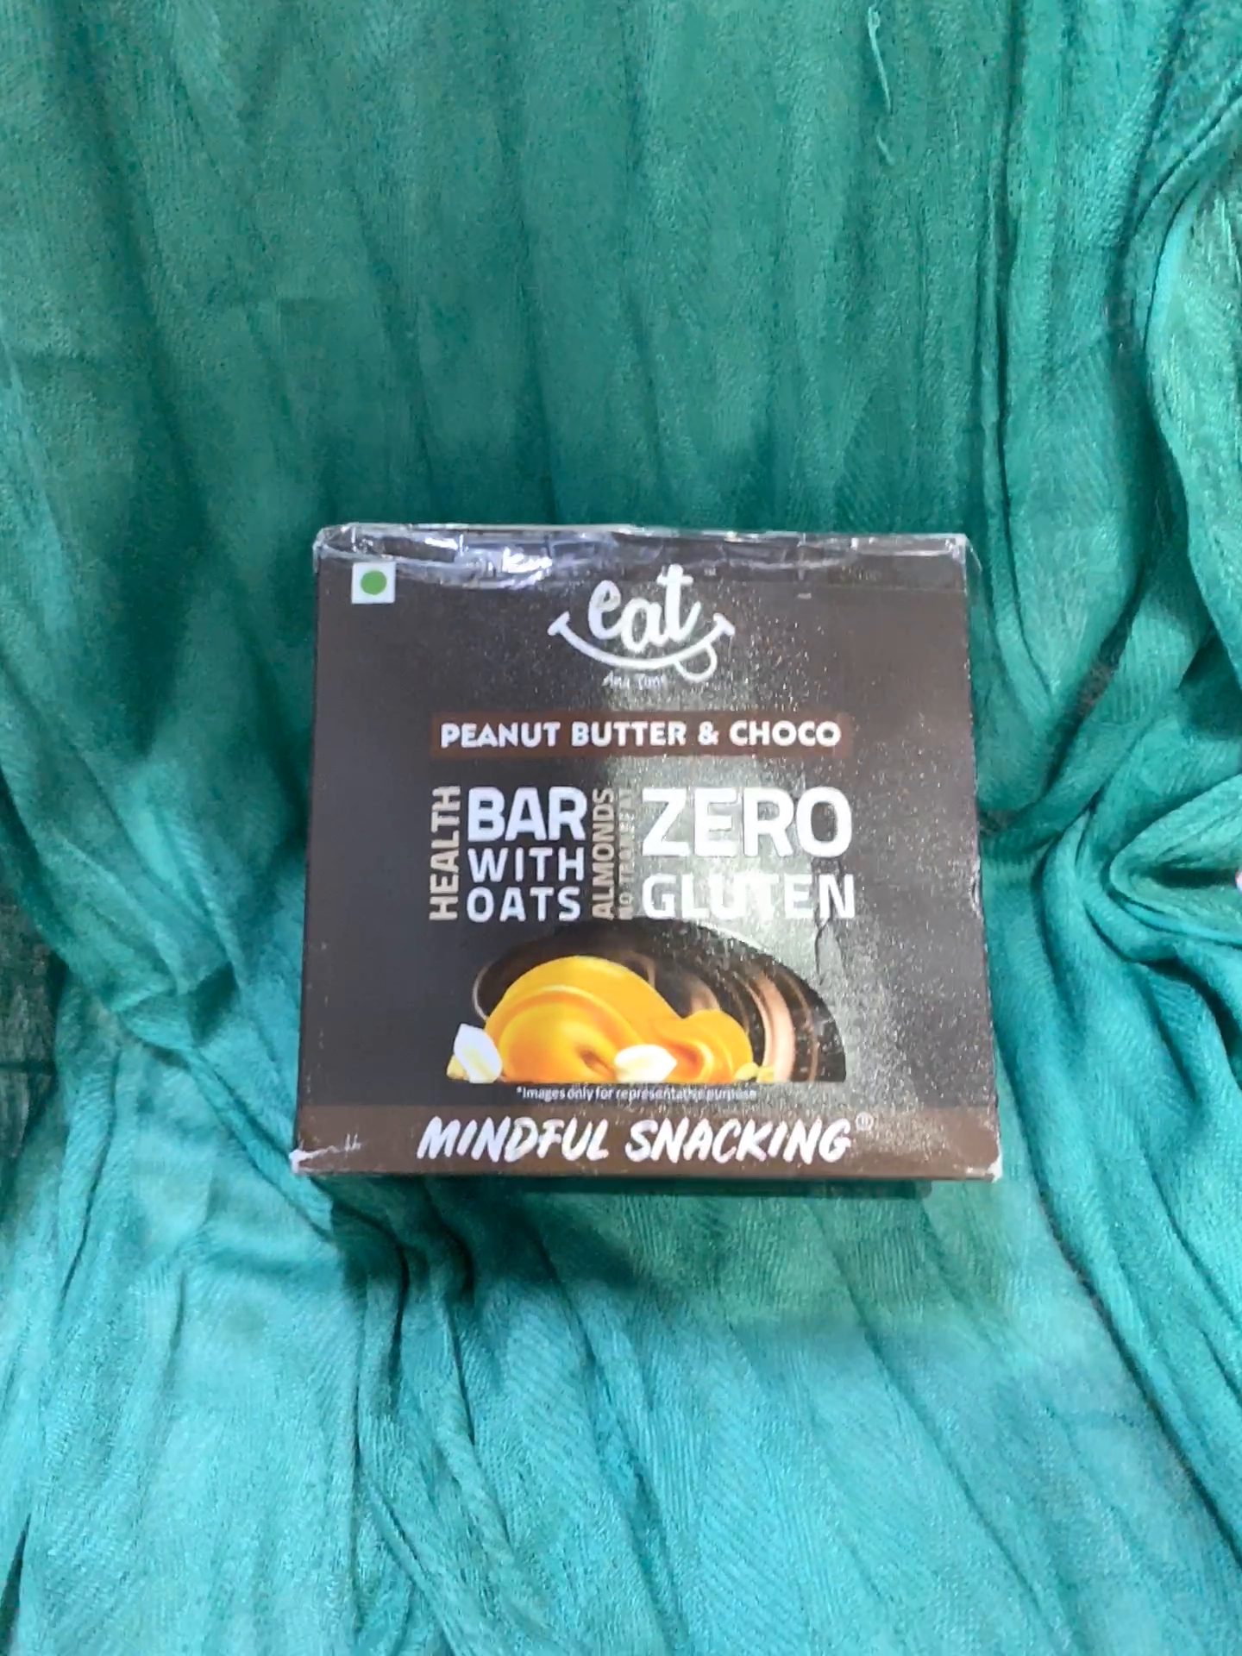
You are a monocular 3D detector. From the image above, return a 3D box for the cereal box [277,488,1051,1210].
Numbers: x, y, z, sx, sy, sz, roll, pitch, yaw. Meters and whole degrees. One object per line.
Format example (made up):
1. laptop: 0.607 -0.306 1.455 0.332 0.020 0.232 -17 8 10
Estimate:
1. cereal box: 0.010 0.010 0.292 0.140 0.090 0.140 0 77 3
